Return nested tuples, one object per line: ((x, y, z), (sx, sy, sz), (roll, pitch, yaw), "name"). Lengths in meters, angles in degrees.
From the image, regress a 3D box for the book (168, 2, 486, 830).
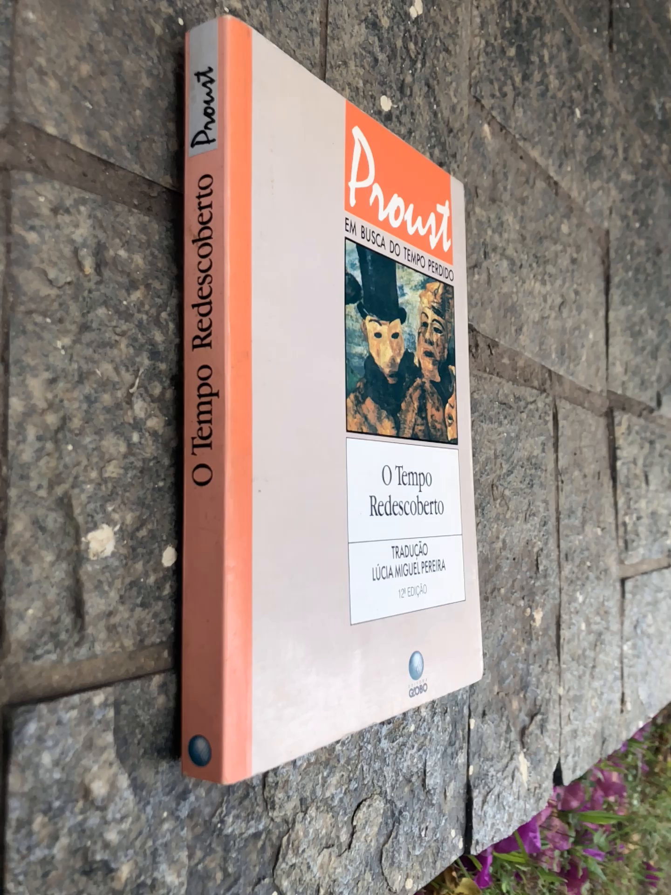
((0.006, -0.008, 0.239), (0.135, 0.023, 0.199), (5, 83, -54), "book")
